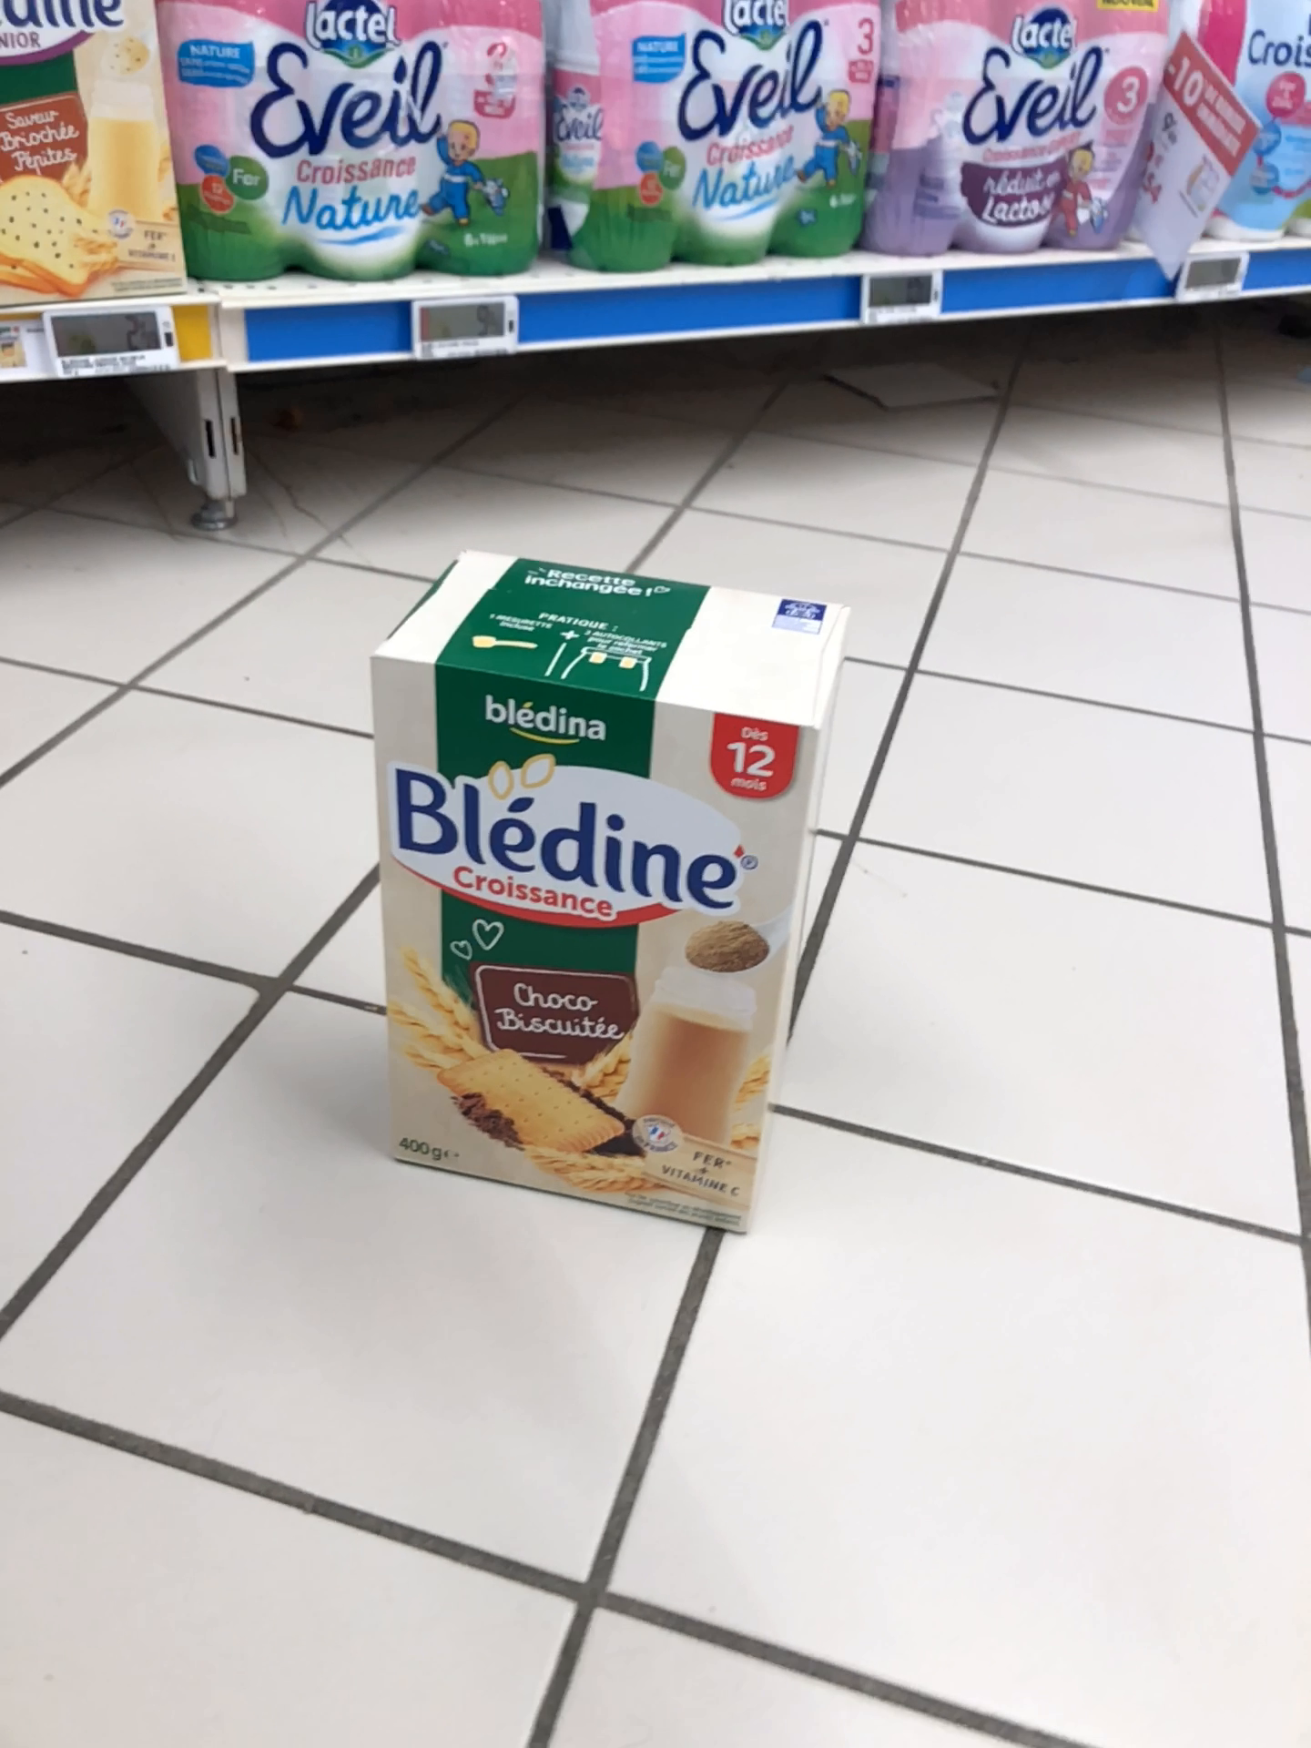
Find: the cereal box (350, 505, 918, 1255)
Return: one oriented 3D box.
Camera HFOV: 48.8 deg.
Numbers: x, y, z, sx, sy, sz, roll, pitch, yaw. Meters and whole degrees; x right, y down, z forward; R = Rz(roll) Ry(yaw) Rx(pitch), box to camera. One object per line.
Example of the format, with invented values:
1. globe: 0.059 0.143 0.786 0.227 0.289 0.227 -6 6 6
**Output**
1. cereal box: -0.006 0.000 0.492 0.150 0.199 0.121 10 33 8
